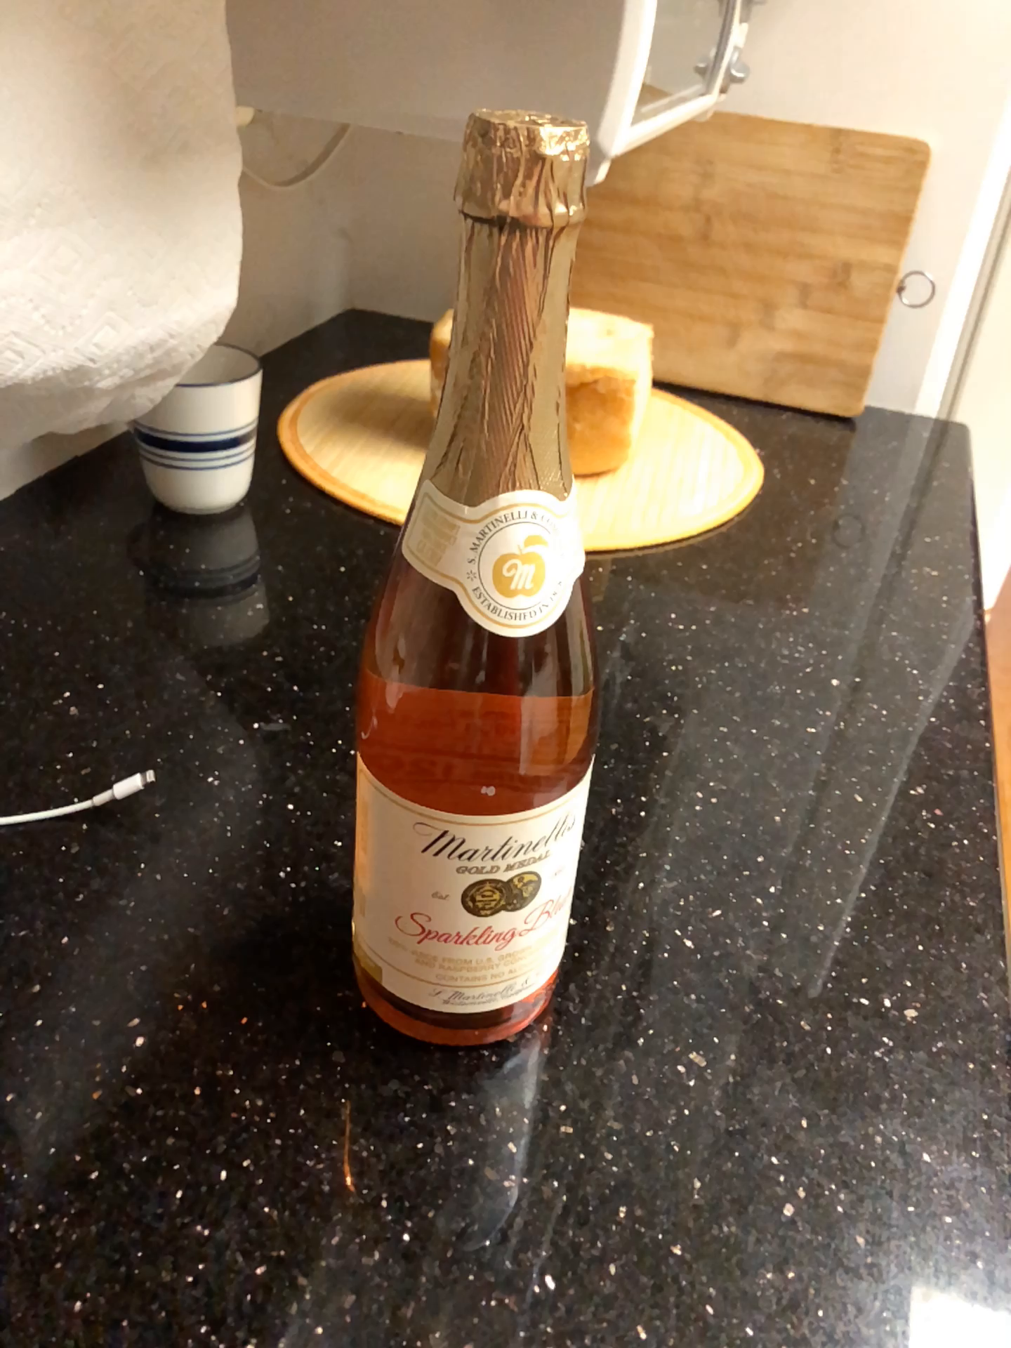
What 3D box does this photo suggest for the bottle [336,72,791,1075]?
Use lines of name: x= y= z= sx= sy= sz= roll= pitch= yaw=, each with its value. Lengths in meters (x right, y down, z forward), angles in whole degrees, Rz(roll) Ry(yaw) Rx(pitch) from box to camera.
bottle: x=-0.003 y=-0.014 z=0.353 sx=0.090 sy=0.298 sz=0.090 roll=4 pitch=33 yaw=-3
